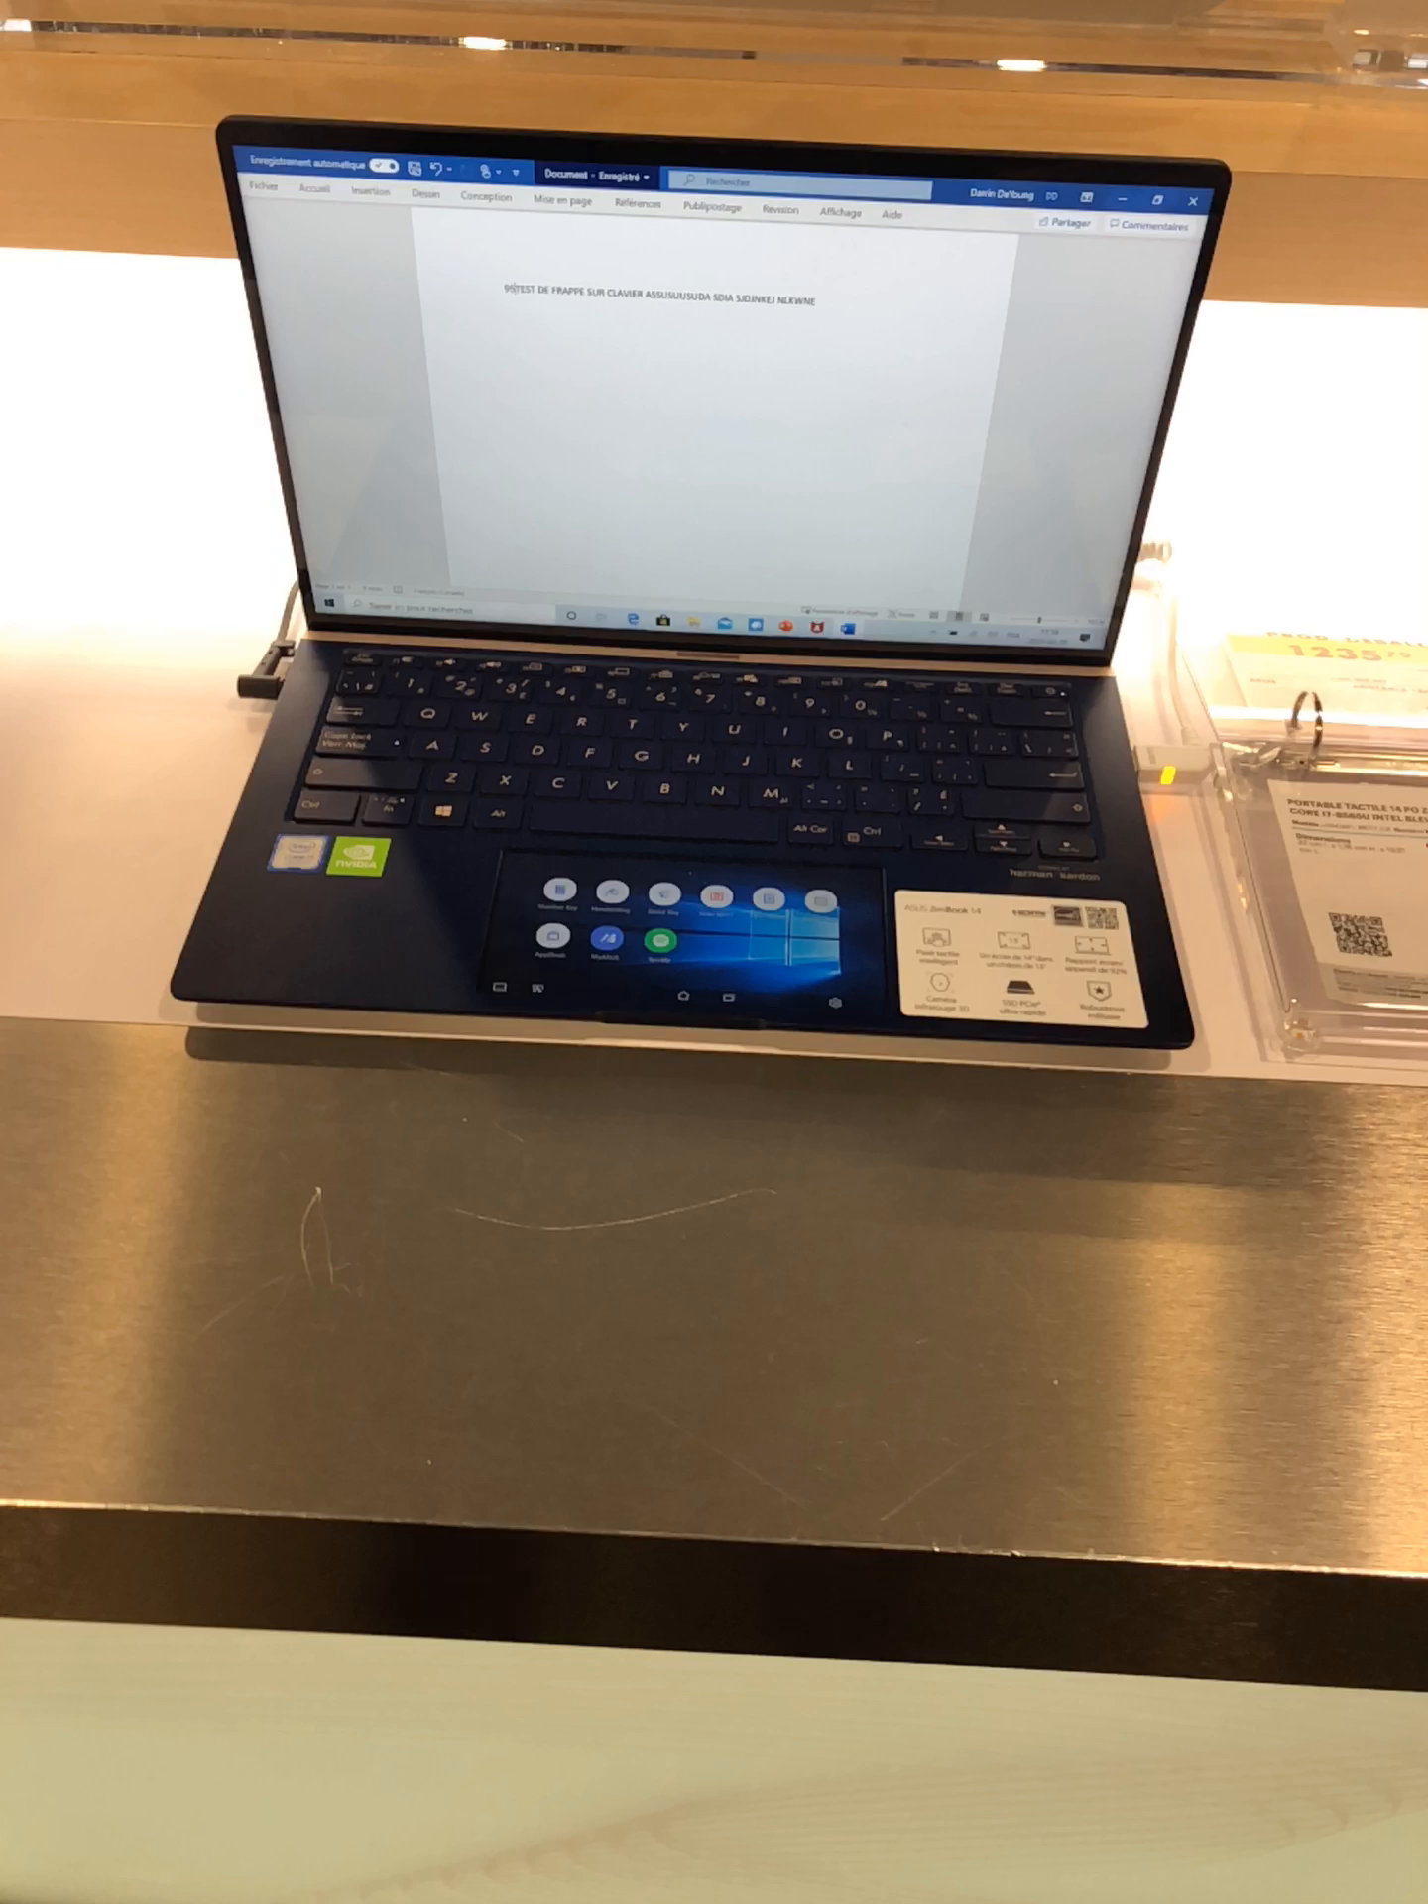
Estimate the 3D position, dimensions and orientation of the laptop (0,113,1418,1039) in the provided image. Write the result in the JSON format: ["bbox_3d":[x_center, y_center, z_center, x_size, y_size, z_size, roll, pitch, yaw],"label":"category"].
[{"bbox_3d":[-0.004,-0.117,0.485,0.317,0.193,0.200,2,46,1],"label":"laptop"}]
